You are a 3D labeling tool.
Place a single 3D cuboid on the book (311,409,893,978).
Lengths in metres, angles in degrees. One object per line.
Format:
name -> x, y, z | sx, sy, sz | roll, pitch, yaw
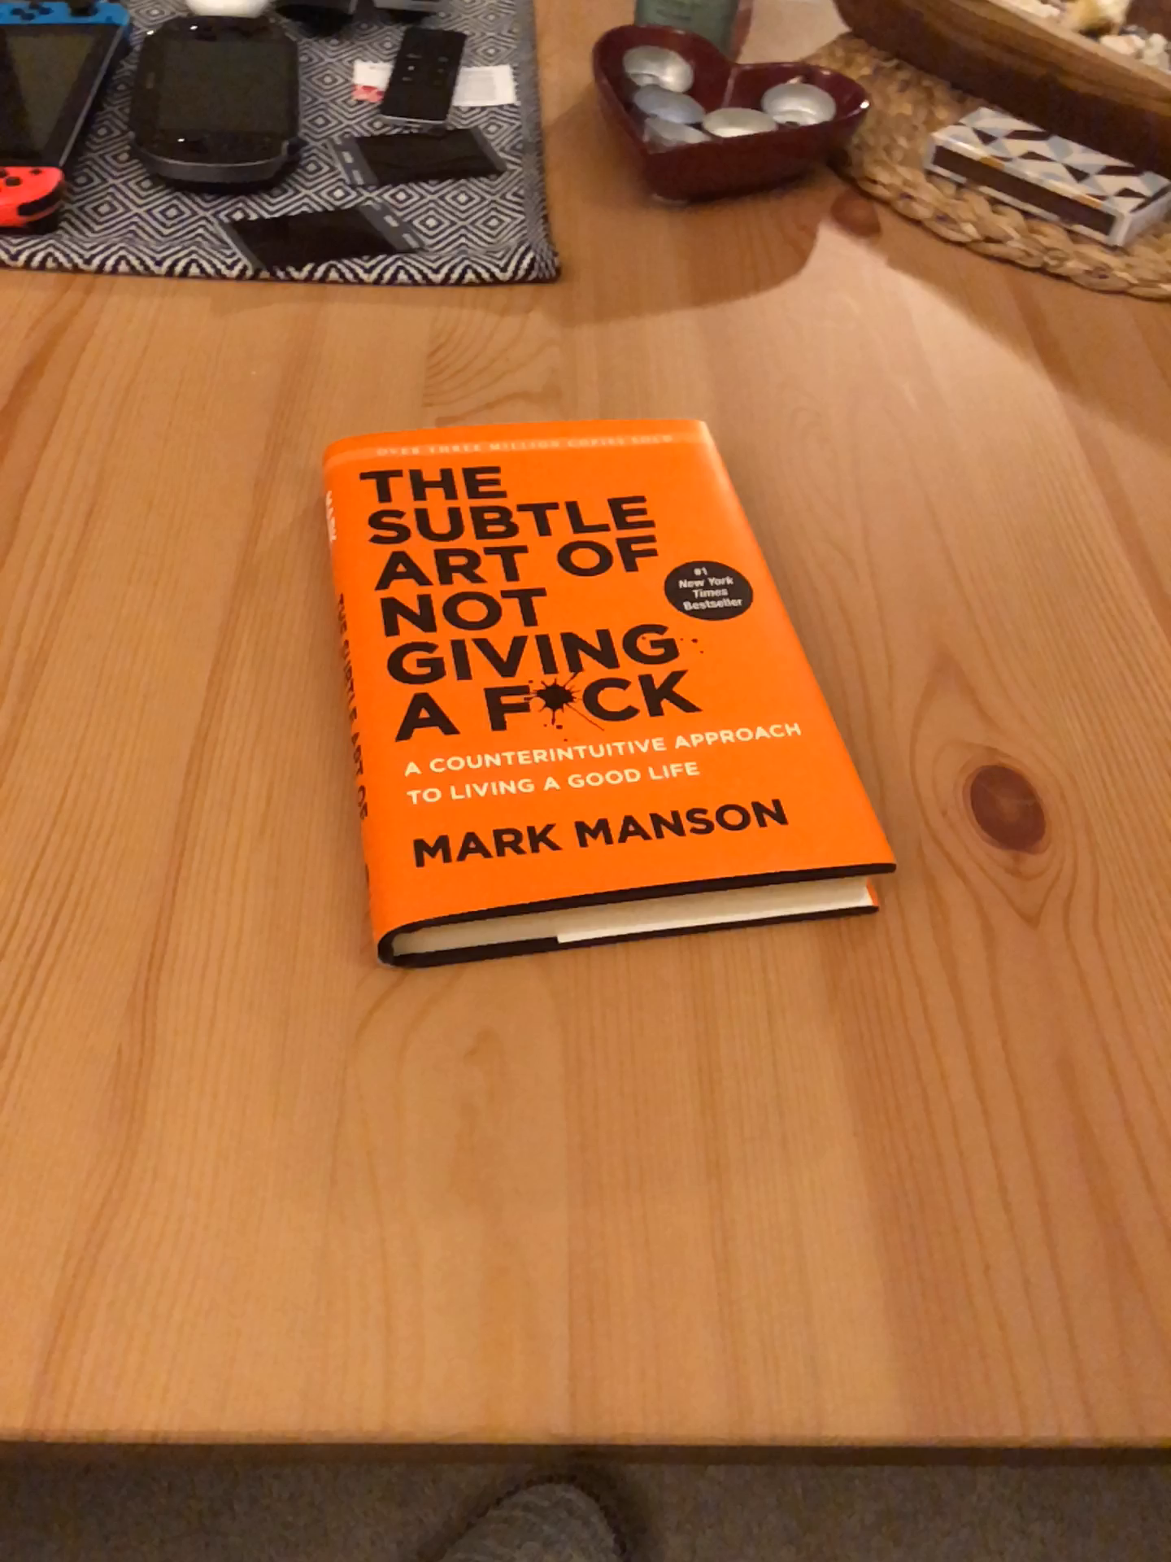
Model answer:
book -> -0.008, -0.045, 0.446 | 0.160, 0.030, 0.221 | -5, 52, -9
